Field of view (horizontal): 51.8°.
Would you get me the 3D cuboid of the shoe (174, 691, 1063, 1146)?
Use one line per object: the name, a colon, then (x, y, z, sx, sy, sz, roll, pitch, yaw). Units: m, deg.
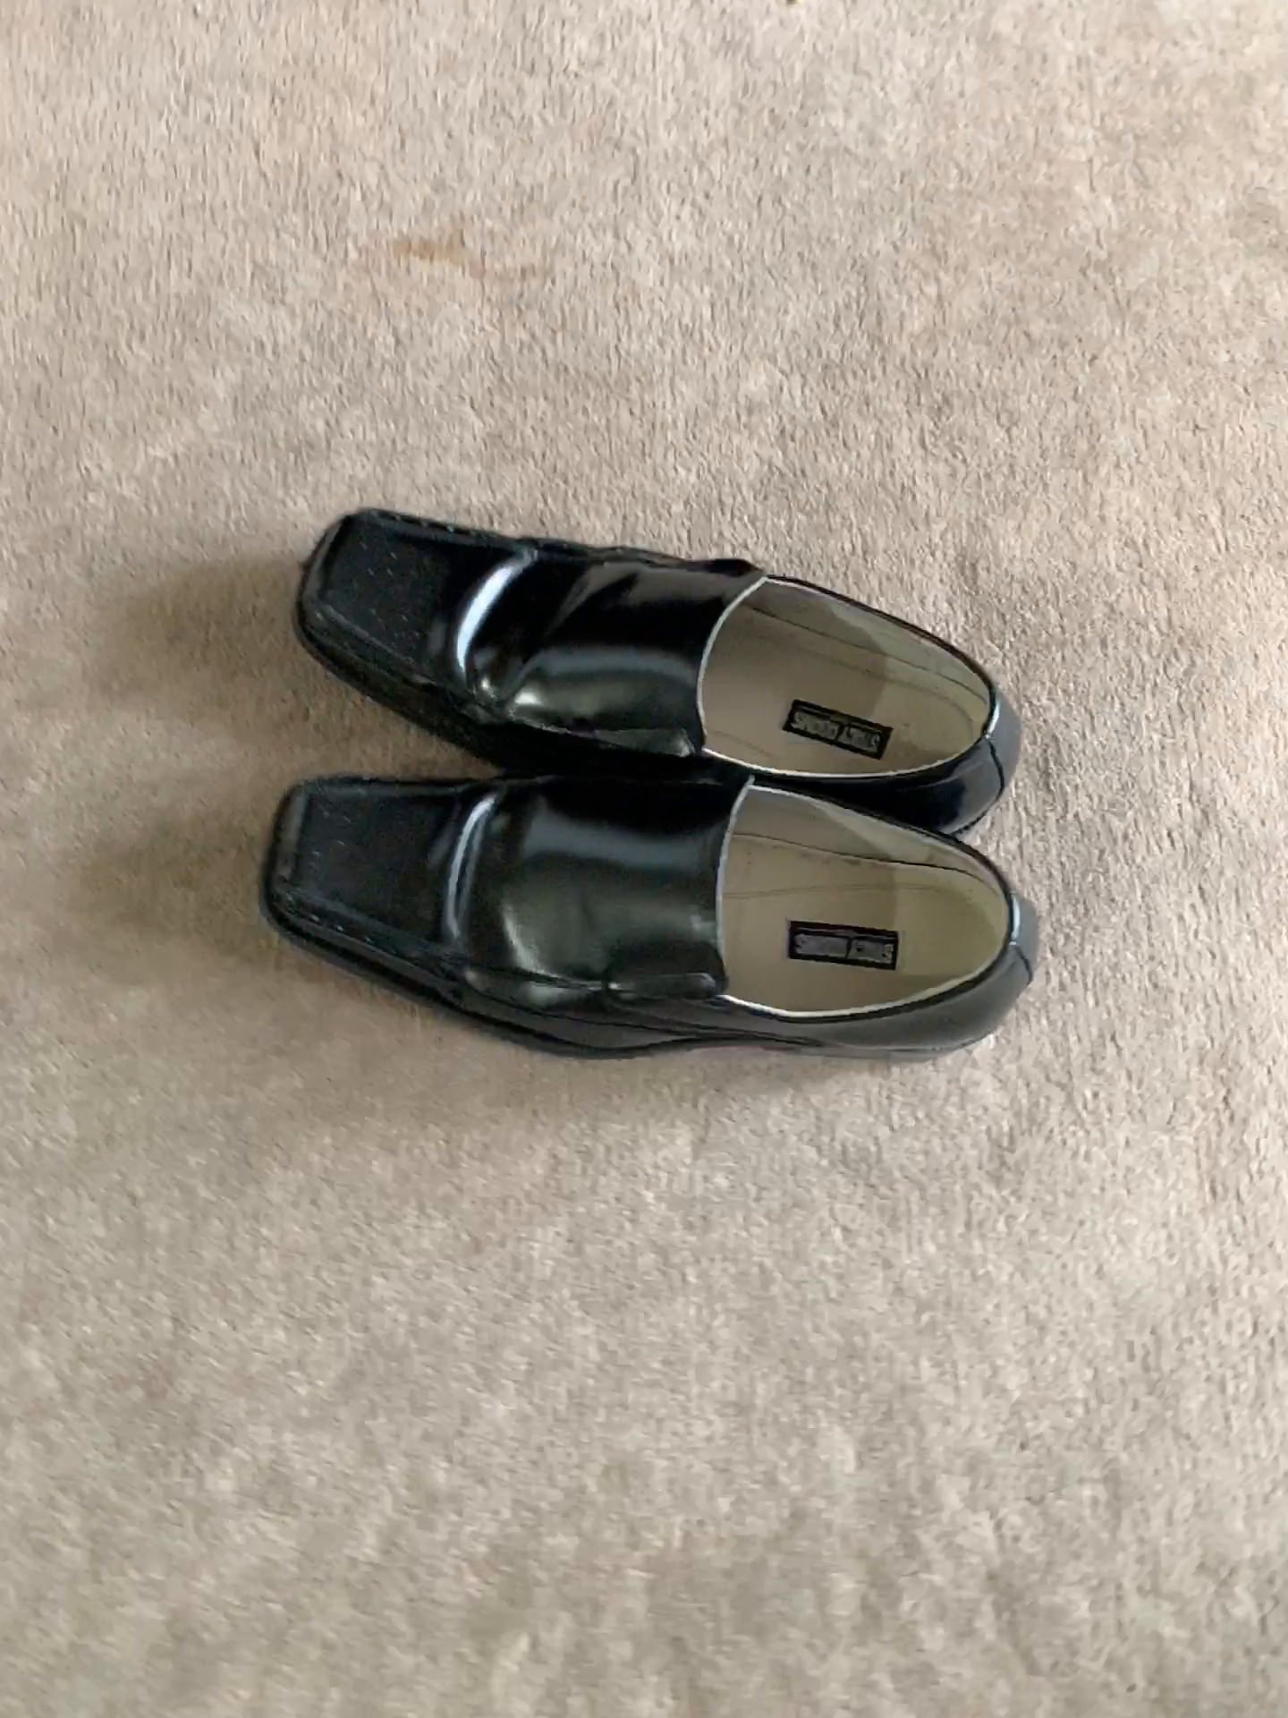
shoe: (-0.007, 0.031, 0.543, 0.310, 0.120, 0.110, 10, 76, 2)

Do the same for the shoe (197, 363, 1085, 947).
shoe: (-0.002, -0.080, 0.563, 0.320, 0.120, 0.110, 20, 76, 4)
